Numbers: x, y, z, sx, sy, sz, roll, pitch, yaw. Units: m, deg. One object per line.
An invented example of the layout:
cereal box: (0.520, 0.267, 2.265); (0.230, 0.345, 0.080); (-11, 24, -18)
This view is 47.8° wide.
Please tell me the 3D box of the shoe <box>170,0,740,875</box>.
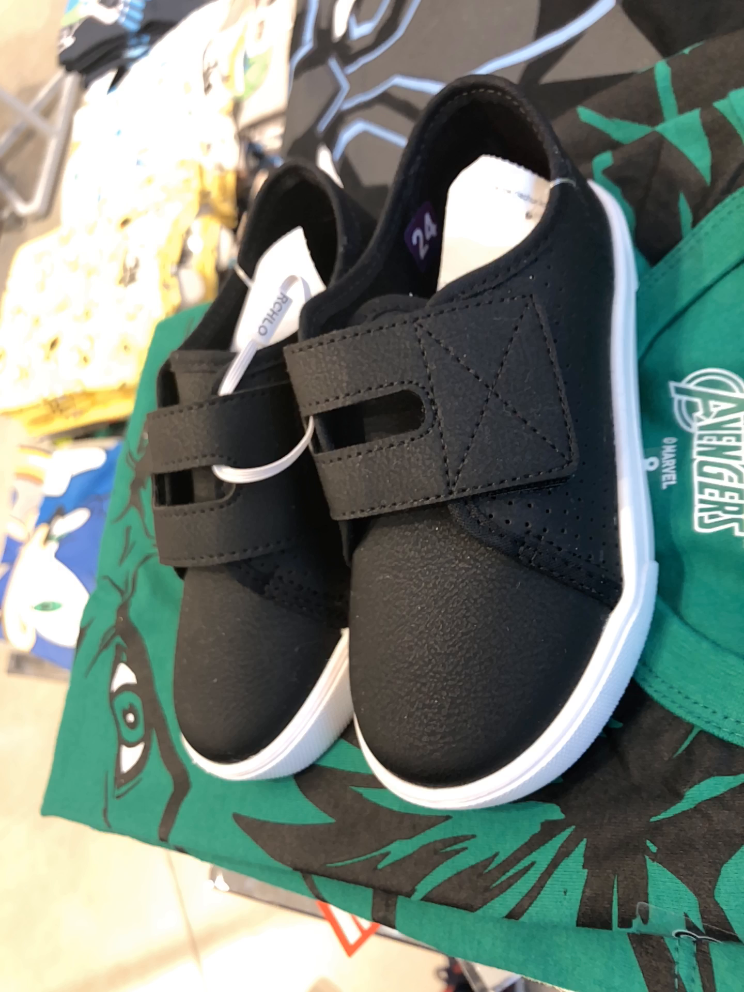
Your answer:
shoe: (0.031, -0.013, 0.204); (0.090, 0.090, 0.170); (-1, 73, 32)

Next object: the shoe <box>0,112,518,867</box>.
shoe: (-0.029, 0.000, 0.239); (0.080, 0.090, 0.170); (6, 77, 34)
